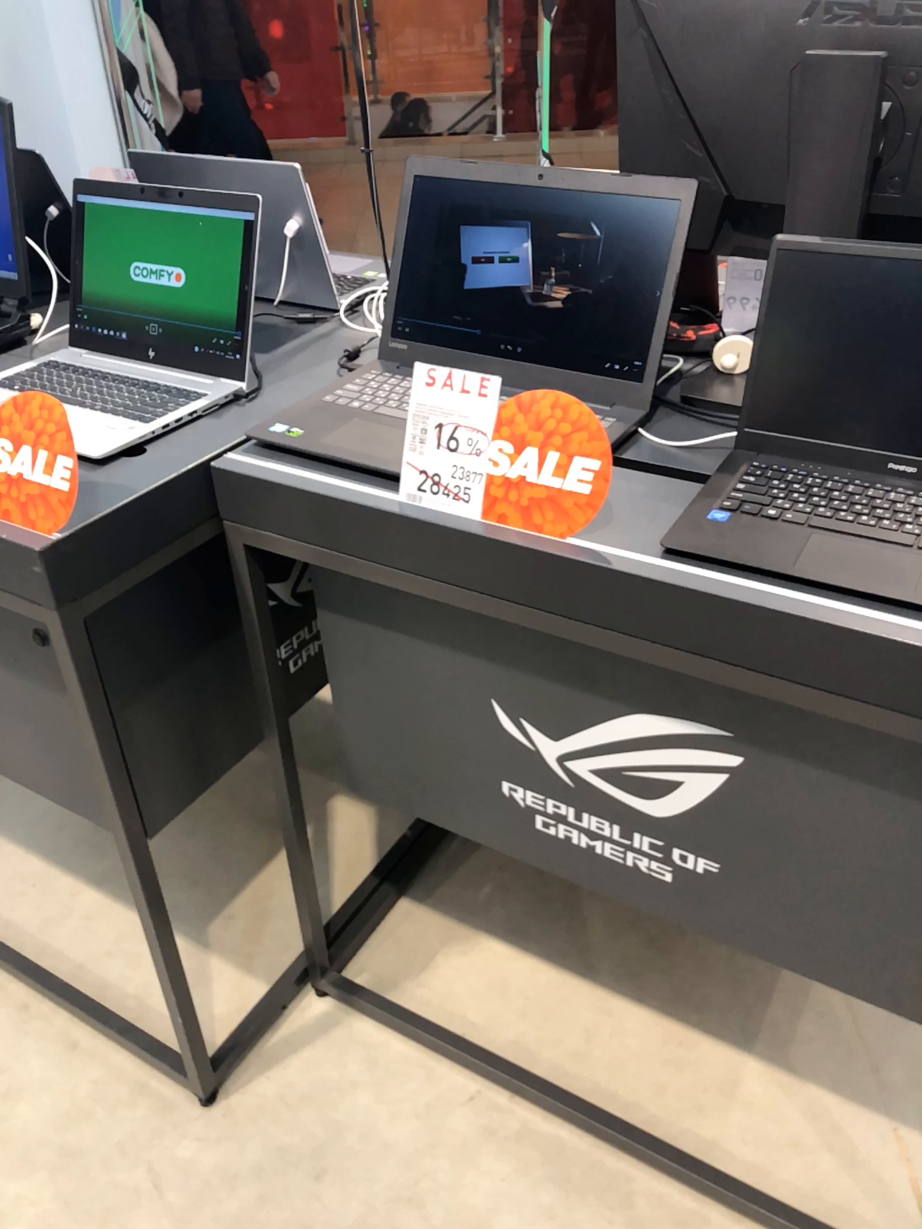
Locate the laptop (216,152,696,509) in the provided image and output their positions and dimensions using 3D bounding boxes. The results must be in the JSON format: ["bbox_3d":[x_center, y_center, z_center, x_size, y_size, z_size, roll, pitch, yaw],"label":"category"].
[{"bbox_3d":[0.005,-0.340,1.130,0.383,0.235,0.336,18,40,28],"label":"laptop"}]
